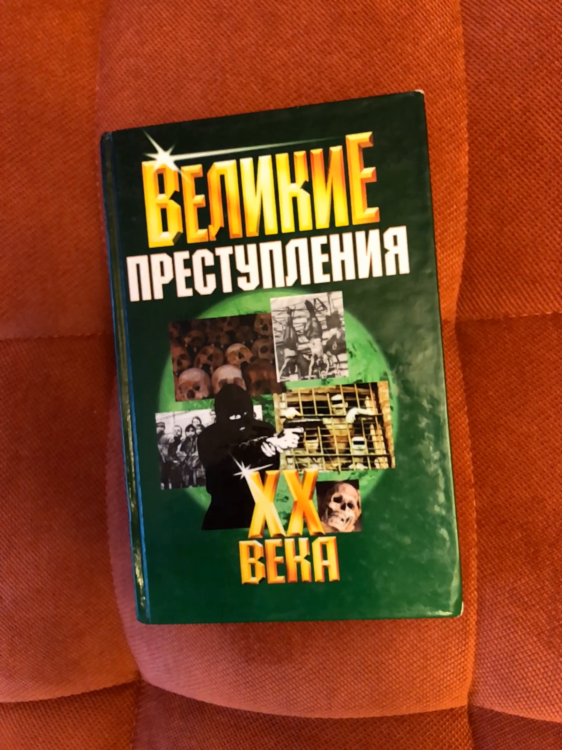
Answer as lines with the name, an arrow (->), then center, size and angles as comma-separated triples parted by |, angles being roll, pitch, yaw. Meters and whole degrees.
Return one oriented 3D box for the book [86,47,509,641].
book -> 0.005, -0.008, 0.274 | 0.160, 0.040, 0.230 | -4, 90, 9
